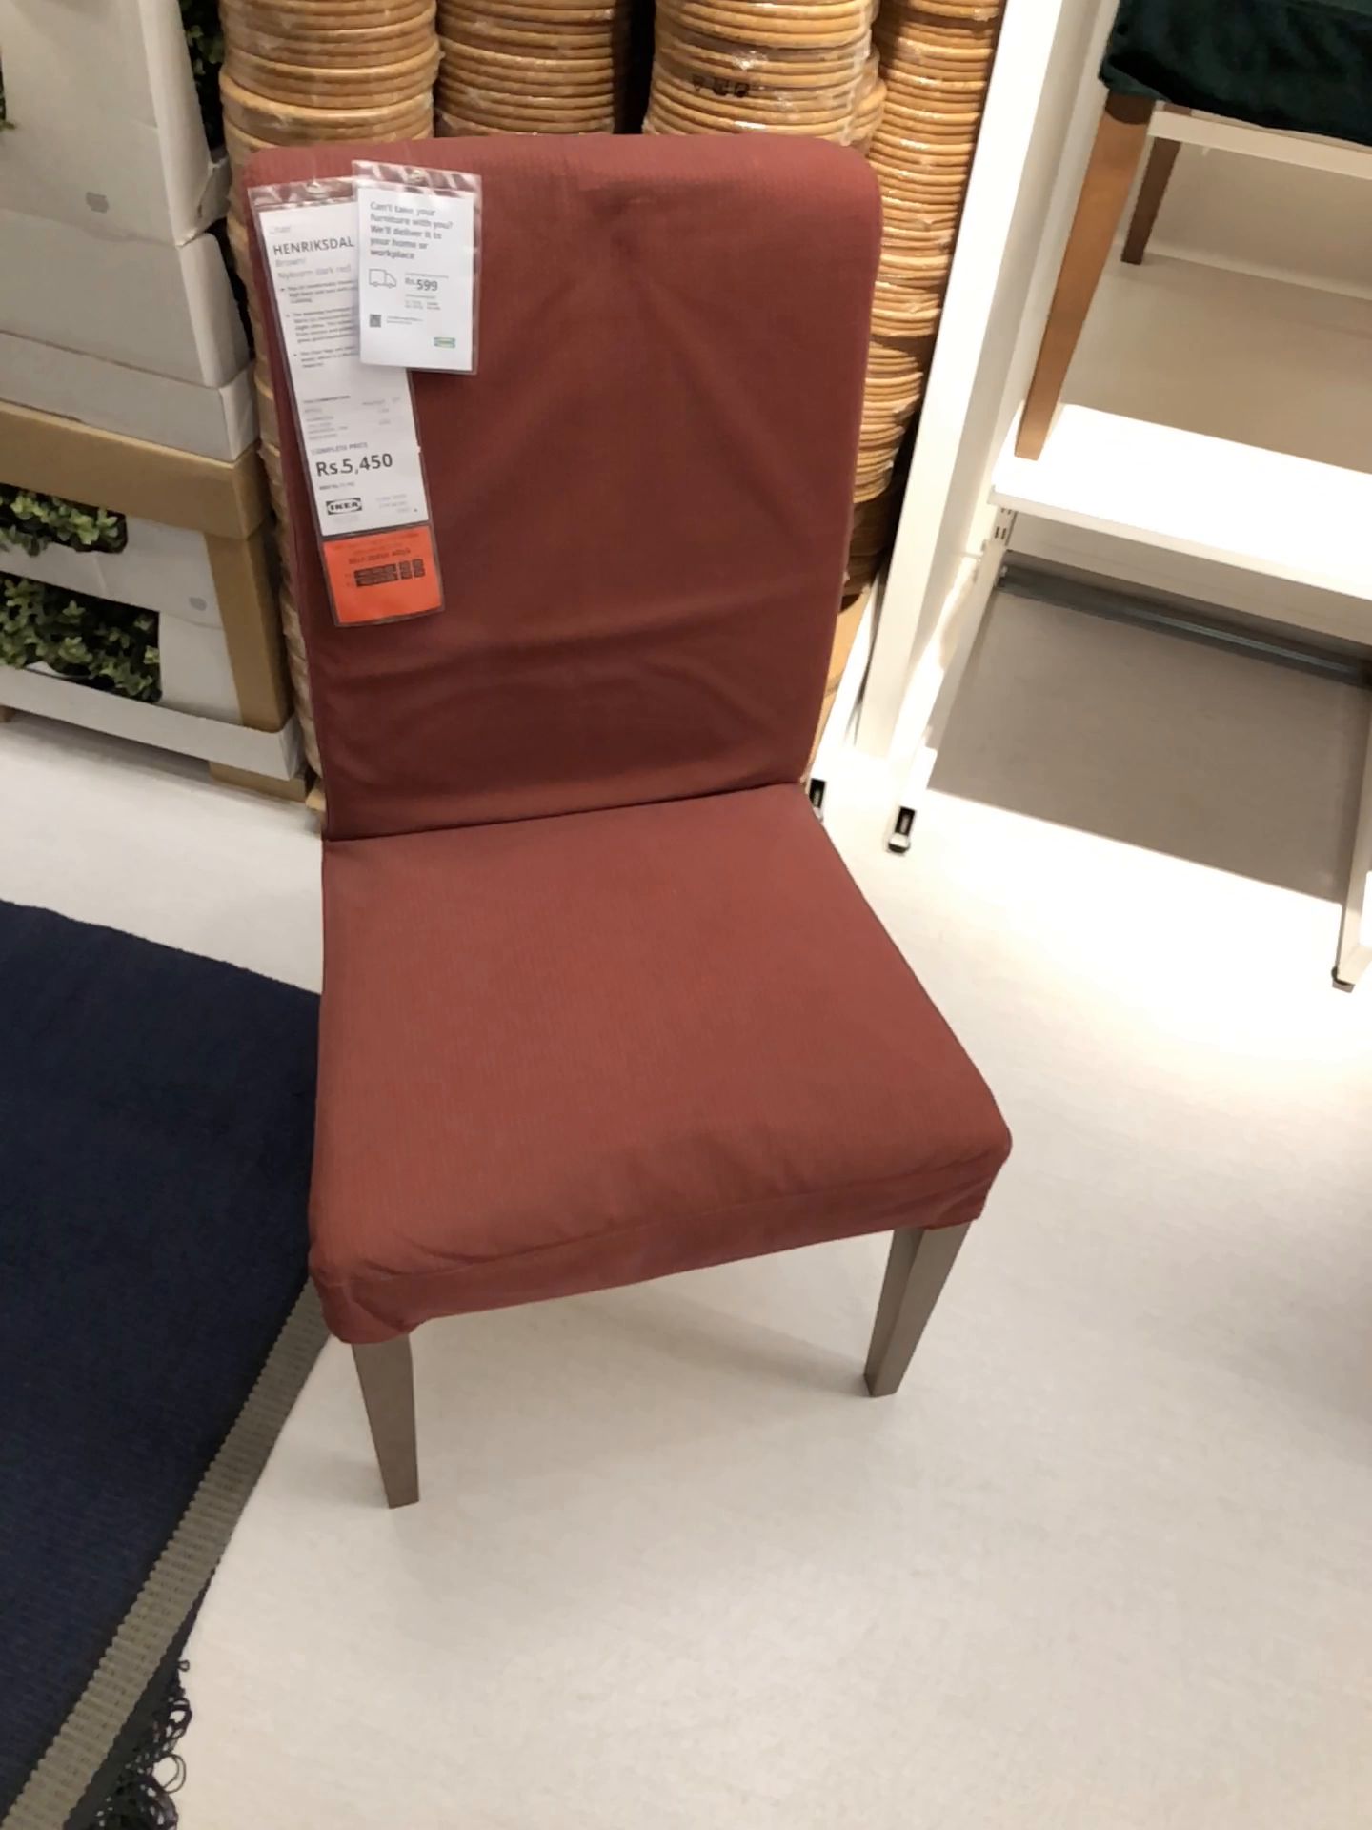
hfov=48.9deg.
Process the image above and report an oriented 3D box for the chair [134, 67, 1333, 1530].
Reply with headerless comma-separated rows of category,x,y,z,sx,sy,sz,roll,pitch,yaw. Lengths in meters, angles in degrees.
chair,-0.055,-0.018,1.179,0.520,0.994,0.533,-8,50,-12
